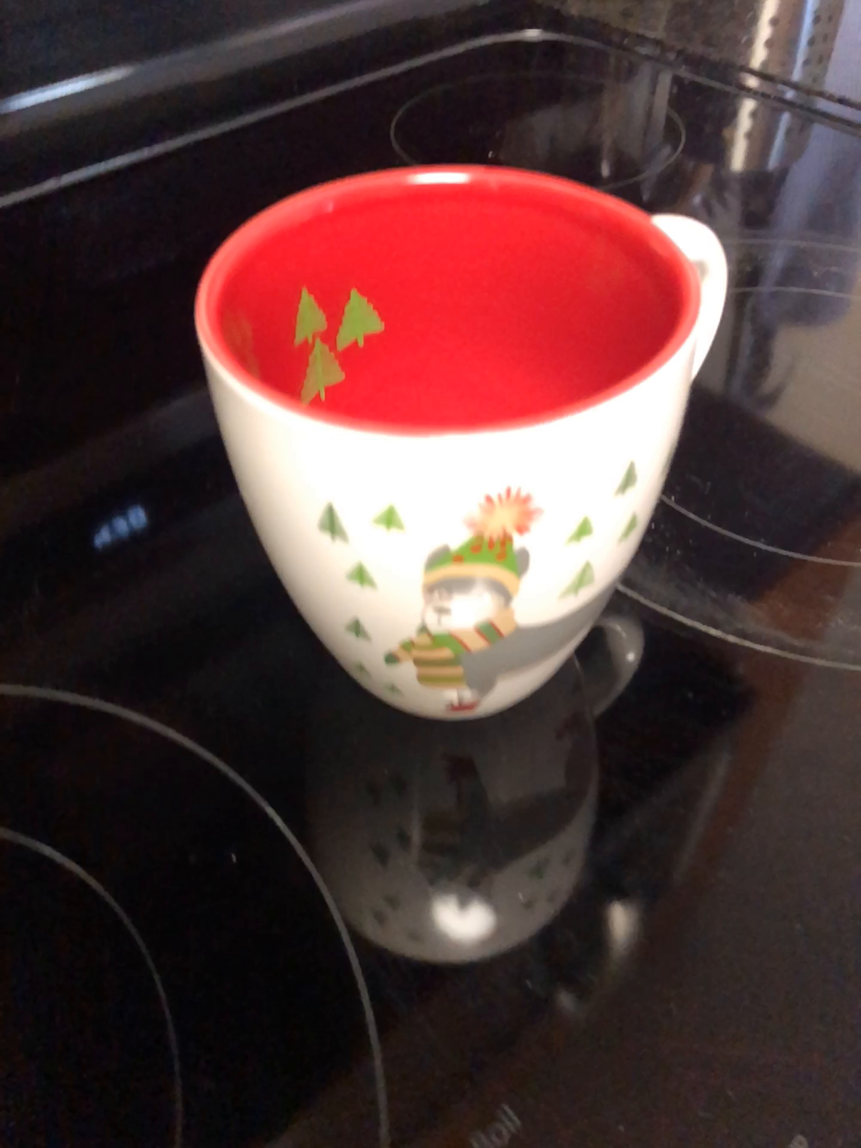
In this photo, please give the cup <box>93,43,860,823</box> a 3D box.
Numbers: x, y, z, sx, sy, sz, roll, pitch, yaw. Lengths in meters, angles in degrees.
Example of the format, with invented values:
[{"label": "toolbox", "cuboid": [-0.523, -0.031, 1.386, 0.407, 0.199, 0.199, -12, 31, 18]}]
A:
[{"label": "cup", "cuboid": [0.021, -0.043, 0.227, 0.140, 0.100, 0.100, -35, 55, -28]}]
